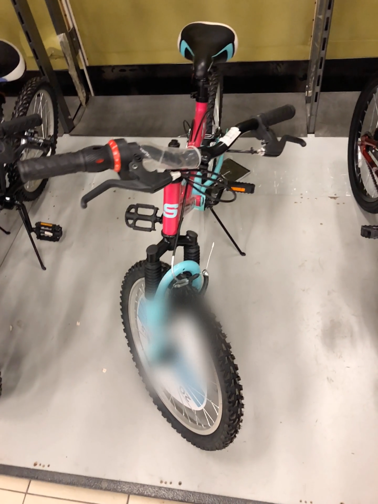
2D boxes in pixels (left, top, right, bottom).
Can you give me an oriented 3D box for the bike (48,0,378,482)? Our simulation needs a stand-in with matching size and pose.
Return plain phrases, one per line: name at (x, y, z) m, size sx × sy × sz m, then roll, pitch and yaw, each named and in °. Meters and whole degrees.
bike at (0.136, -0.167, 1.136) m, size 0.562 × 0.764 × 1.220 m, roll -3°, pitch 55°, yaw 6°
